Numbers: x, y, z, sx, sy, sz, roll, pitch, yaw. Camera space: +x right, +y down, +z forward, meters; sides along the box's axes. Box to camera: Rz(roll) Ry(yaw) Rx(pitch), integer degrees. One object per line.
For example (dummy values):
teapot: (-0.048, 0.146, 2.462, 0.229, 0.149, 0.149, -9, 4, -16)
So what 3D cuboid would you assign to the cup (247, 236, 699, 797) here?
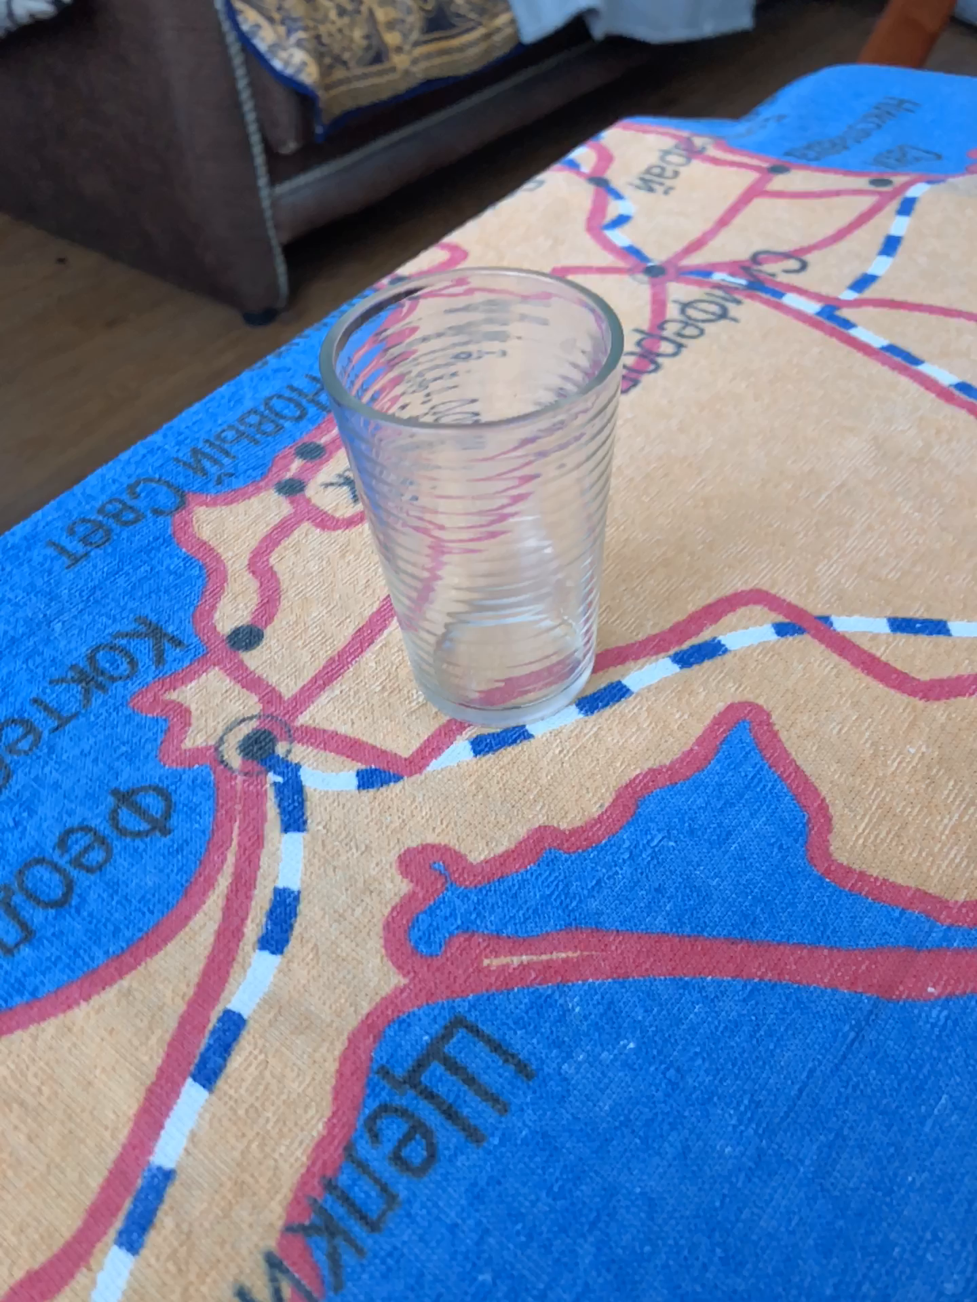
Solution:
cup: (0.000, -0.033, 0.267, 0.070, 0.099, 0.068, -2, 45, 2)
